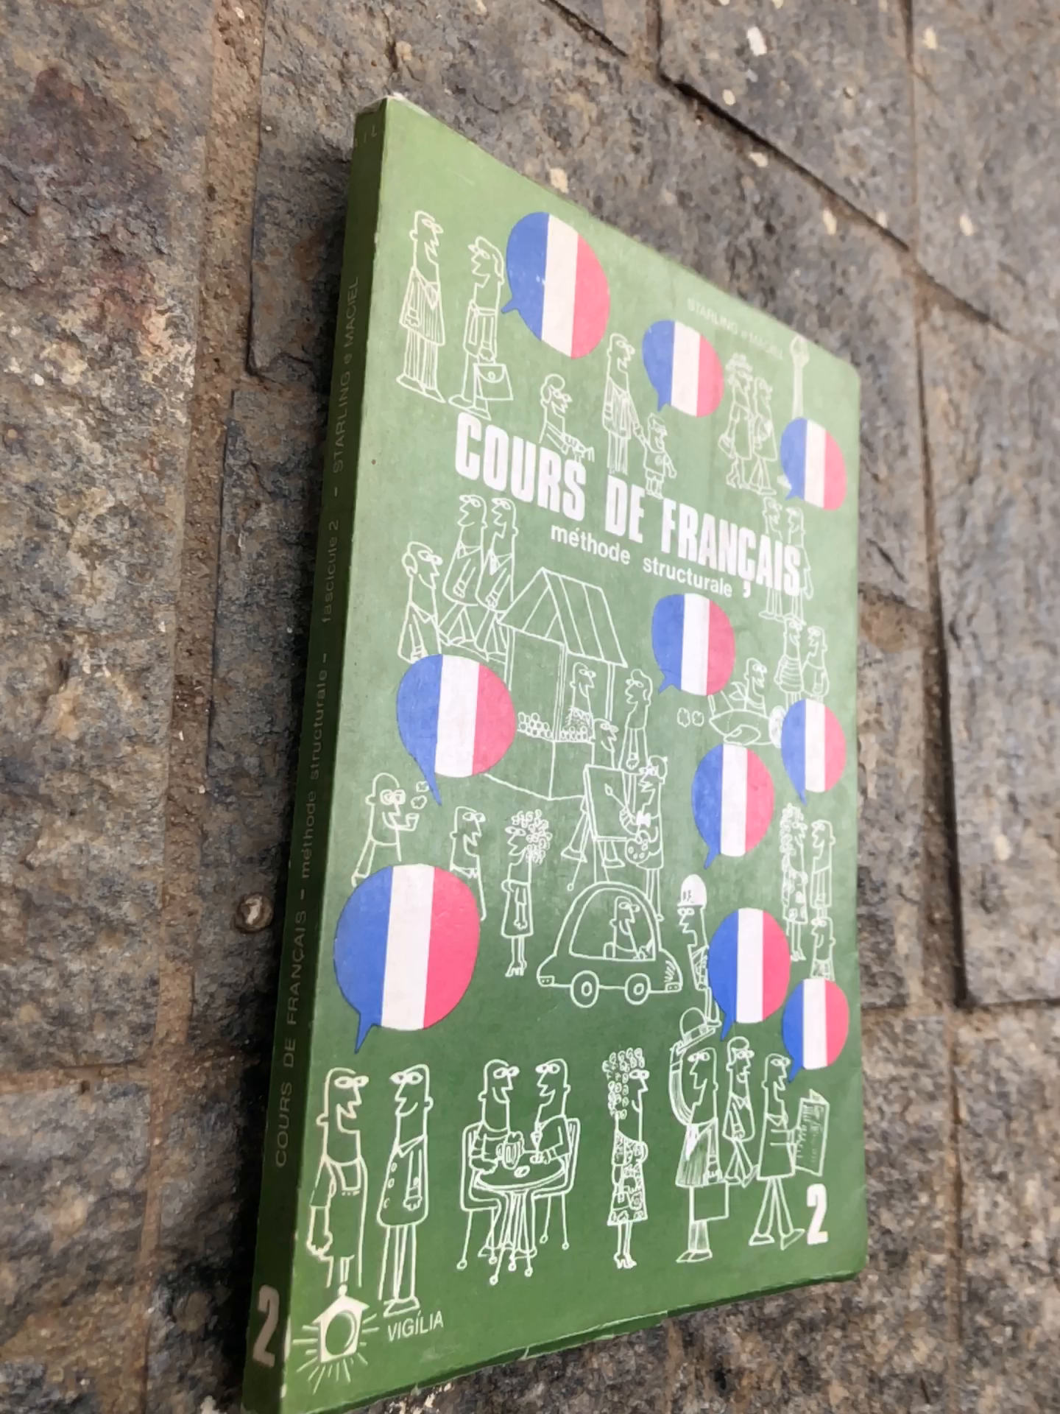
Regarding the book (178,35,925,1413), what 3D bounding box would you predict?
[{"bbox_3d":[0.024,0.008,0.231,0.168,0.013,0.211,11,76,-40],"label":"book"}]
